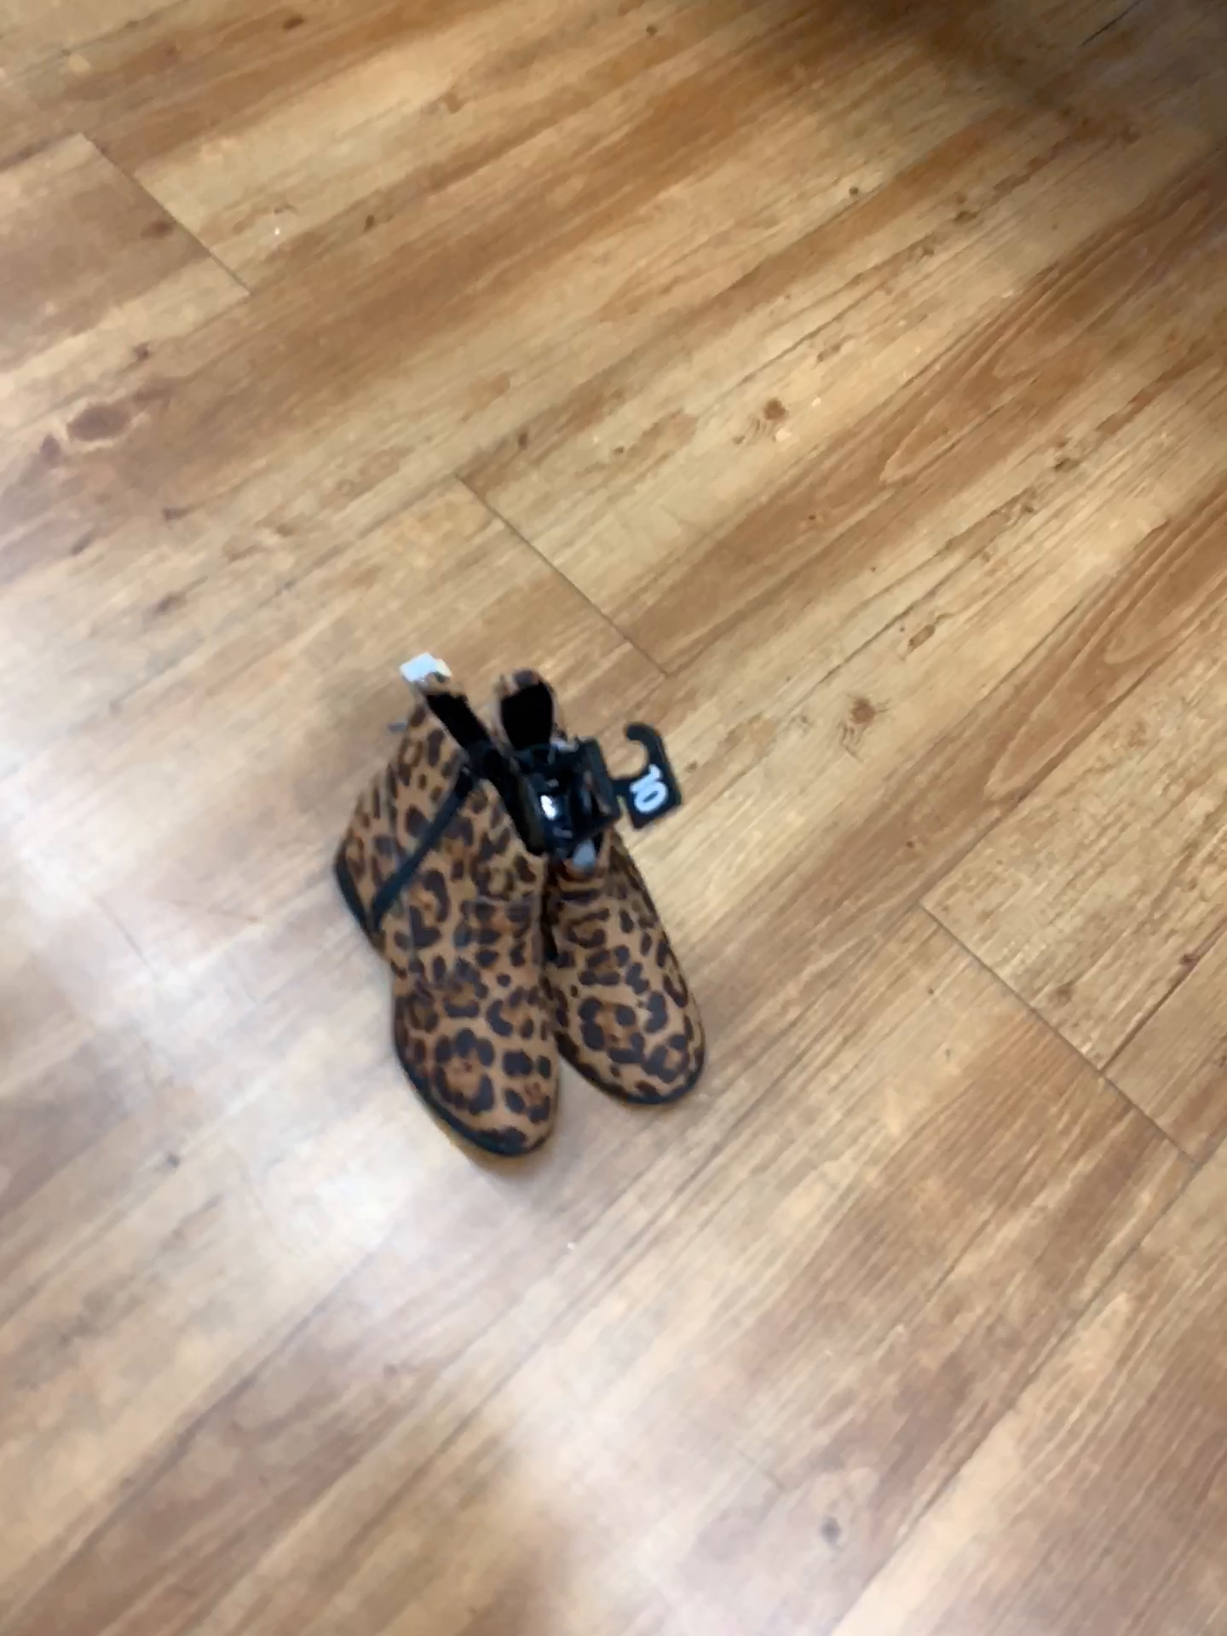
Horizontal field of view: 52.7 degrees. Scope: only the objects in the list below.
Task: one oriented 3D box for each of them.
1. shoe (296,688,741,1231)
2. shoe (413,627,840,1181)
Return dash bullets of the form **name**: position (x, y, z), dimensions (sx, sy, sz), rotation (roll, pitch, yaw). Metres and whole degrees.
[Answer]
- **shoe**: position (-0.048, 0.056, 0.518), dimensions (0.070, 0.120, 0.180), rotation (-10, 64, -42)
- **shoe**: position (-0.004, 0.039, 0.513), dimensions (0.070, 0.120, 0.190), rotation (-27, 71, -16)
